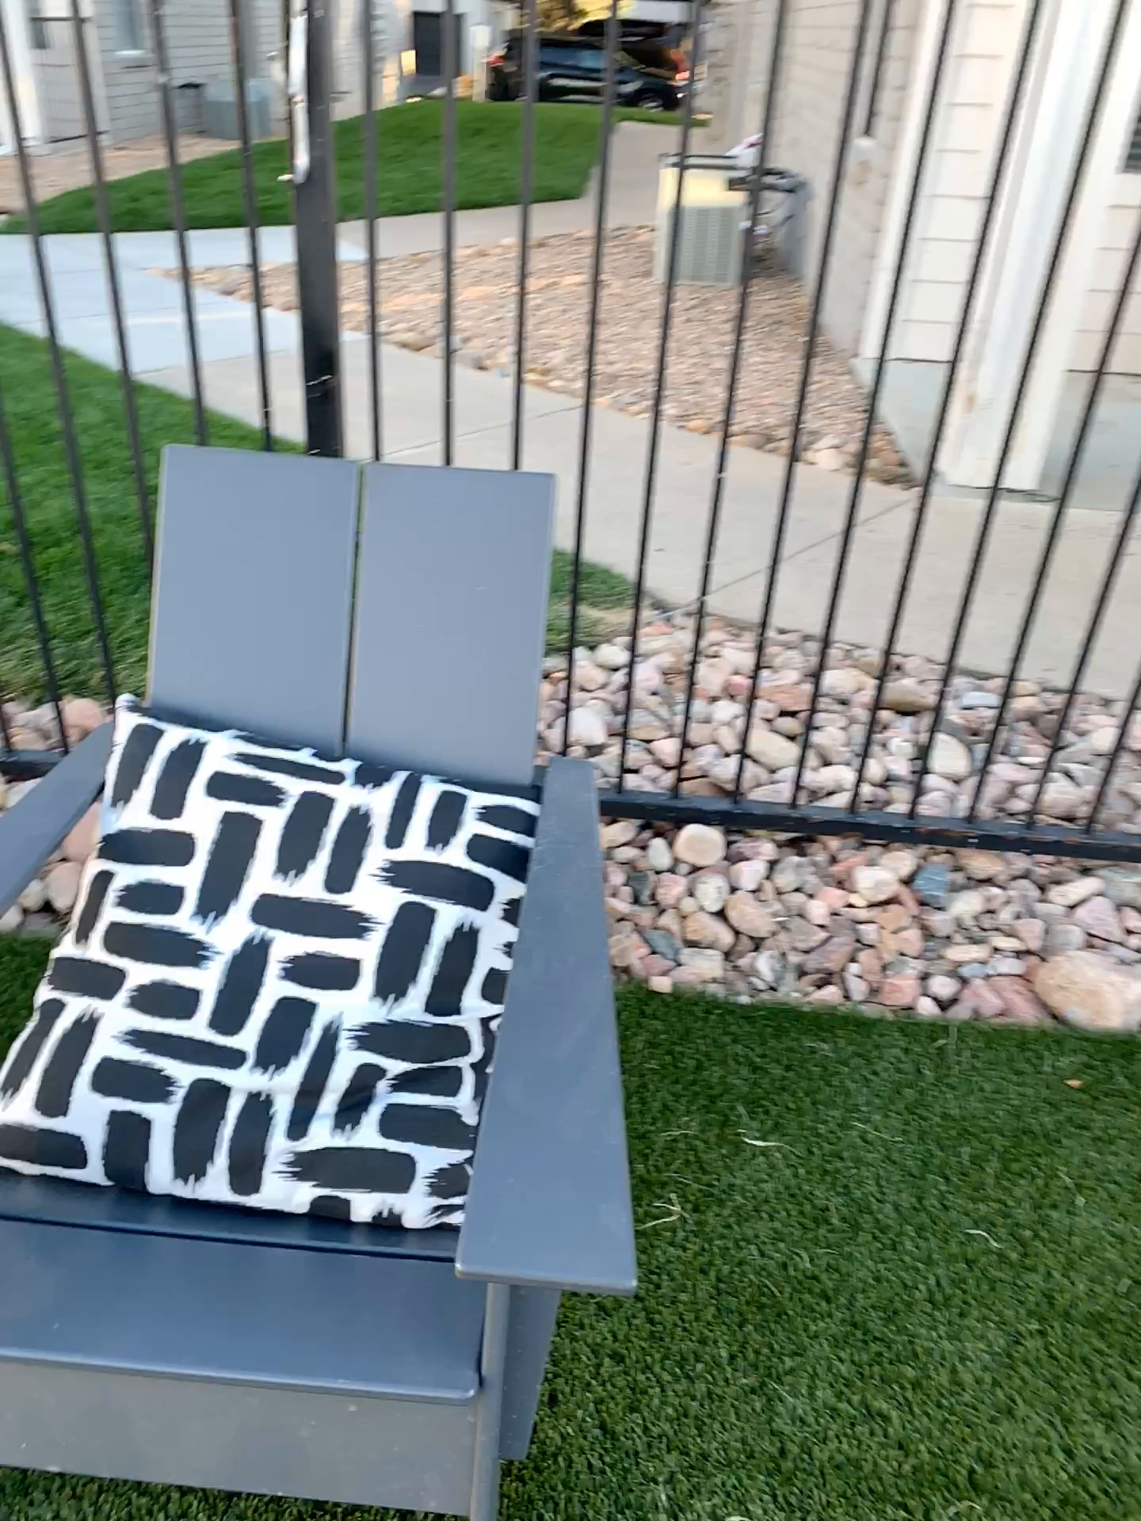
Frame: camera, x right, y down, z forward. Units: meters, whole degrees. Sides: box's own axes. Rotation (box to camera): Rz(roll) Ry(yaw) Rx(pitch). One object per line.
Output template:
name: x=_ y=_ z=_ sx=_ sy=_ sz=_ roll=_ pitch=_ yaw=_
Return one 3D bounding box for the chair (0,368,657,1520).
chair: x=-0.281 y=0.171 z=1.099 sx=0.620 sy=0.806 sz=0.884 roll=6 pitch=32 yaw=3
